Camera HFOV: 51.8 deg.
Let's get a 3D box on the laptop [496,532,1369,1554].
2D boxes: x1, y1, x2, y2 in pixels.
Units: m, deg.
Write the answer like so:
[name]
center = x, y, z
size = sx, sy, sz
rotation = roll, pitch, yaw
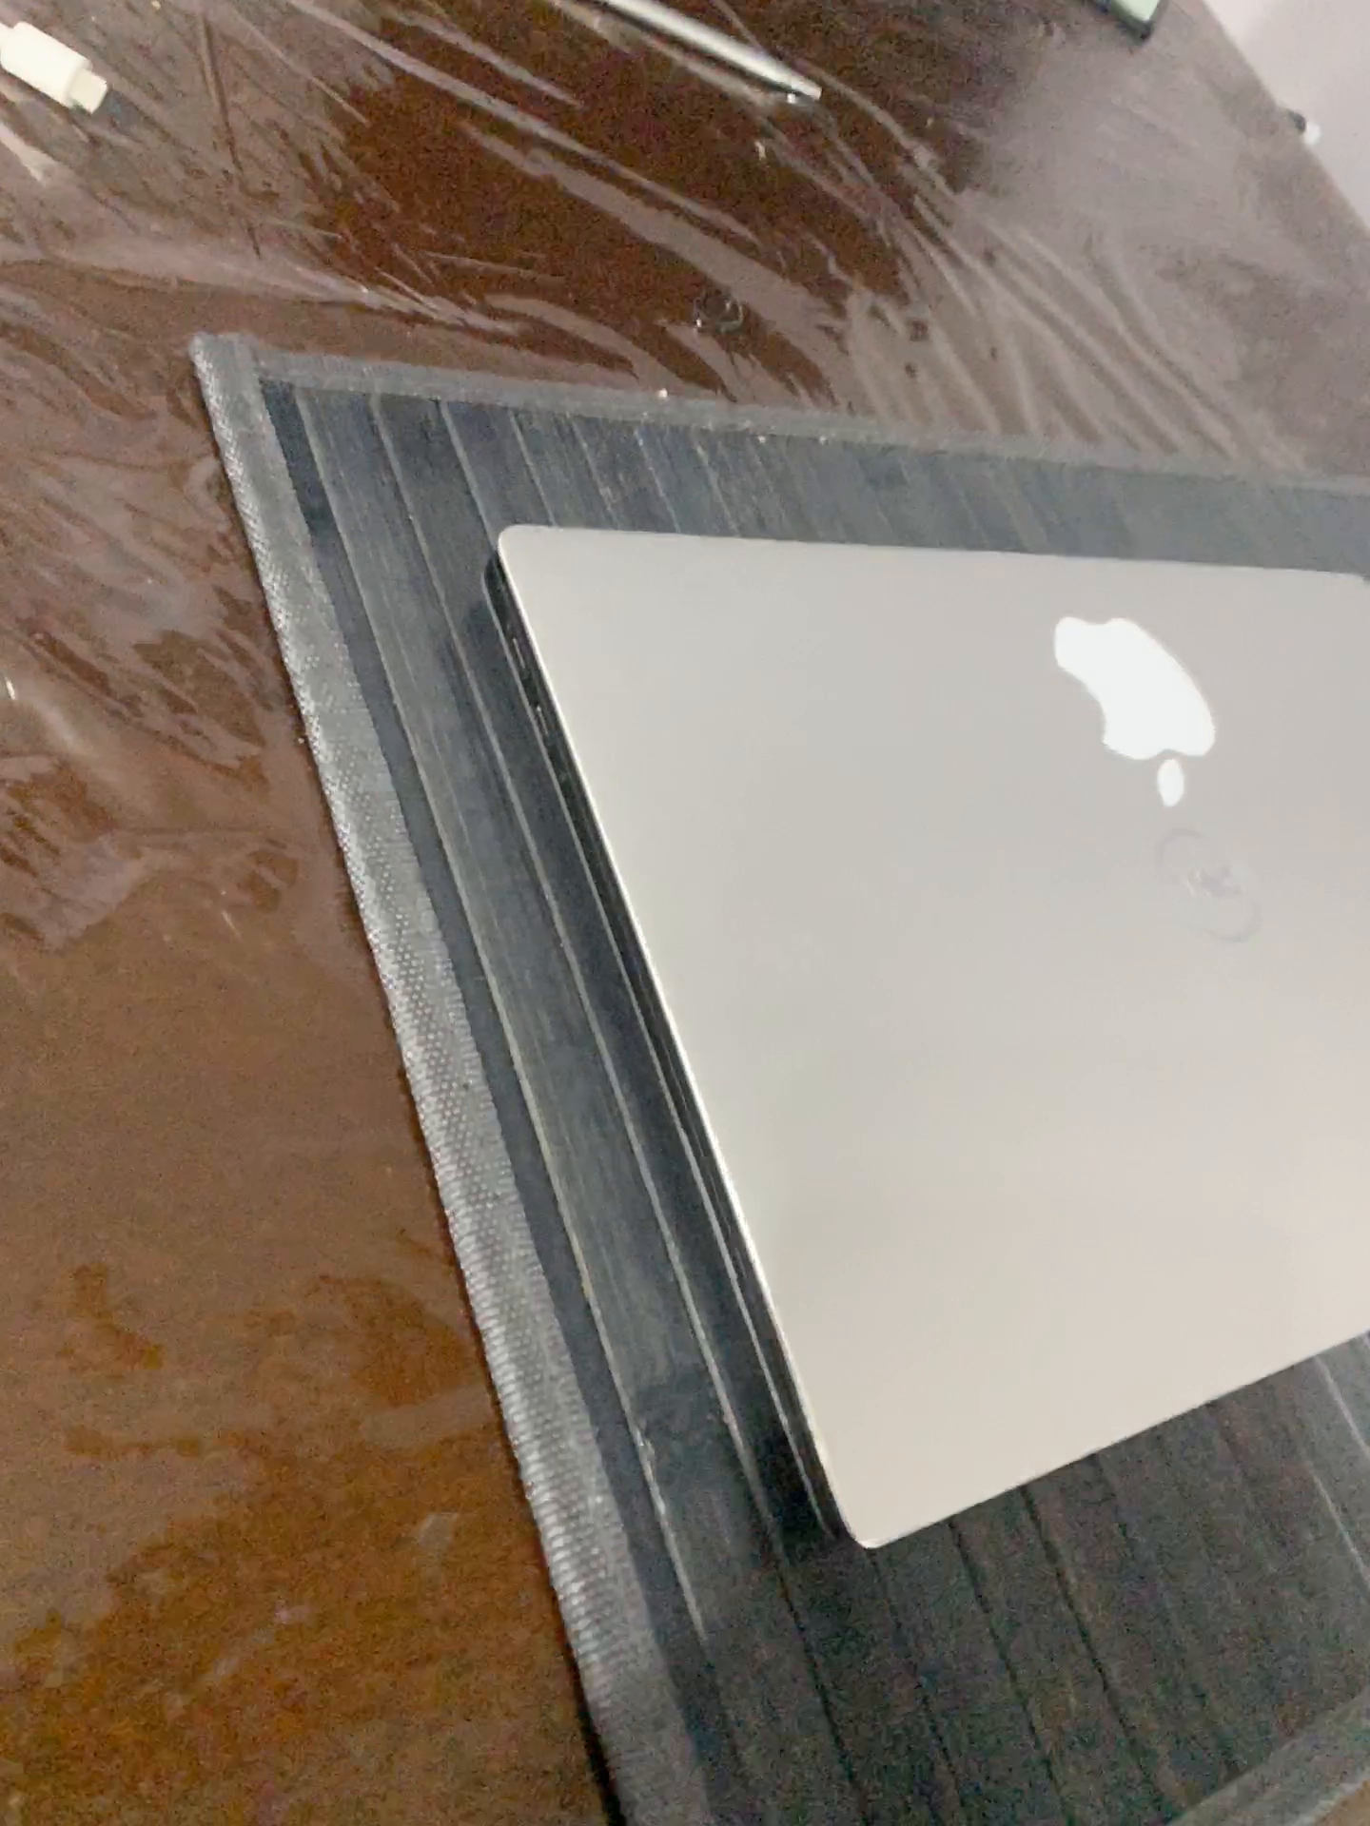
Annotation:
[laptop]
center = 0.110, -0.005, 0.306
size = 0.272, 0.001, 0.188
rotation = -7, 64, -32
